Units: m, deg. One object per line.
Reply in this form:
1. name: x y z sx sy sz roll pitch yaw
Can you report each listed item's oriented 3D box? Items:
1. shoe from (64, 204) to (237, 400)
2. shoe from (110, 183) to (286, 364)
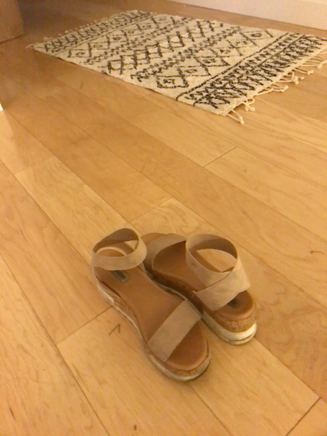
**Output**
1. shoe: -0.029 0.112 0.556 0.110 0.109 0.281 -31 48 -23
2. shoe: 0.043 0.074 0.587 0.110 0.119 0.281 -31 48 -23
